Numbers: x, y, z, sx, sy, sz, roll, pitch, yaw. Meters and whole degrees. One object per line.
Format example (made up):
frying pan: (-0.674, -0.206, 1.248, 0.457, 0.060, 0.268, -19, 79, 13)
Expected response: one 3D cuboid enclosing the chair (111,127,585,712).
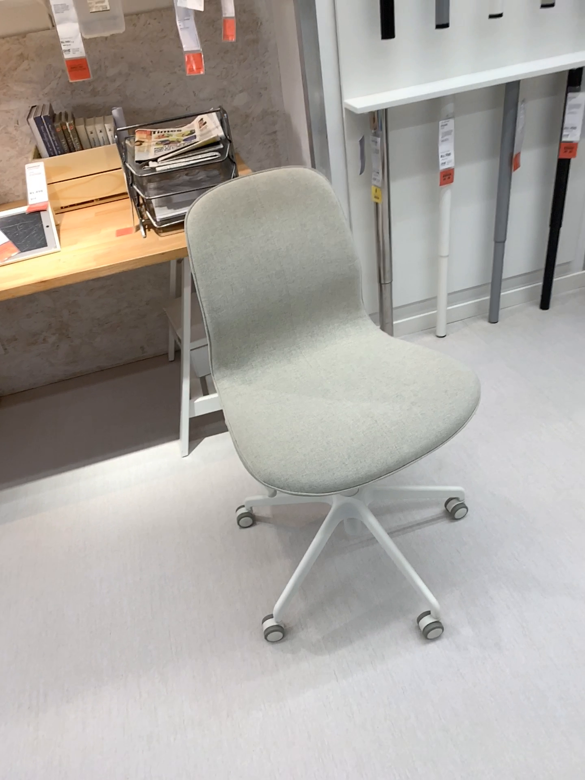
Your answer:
chair: (0.117, 0.024, 1.275, 0.660, 0.866, 0.663, -19, 37, -13)
